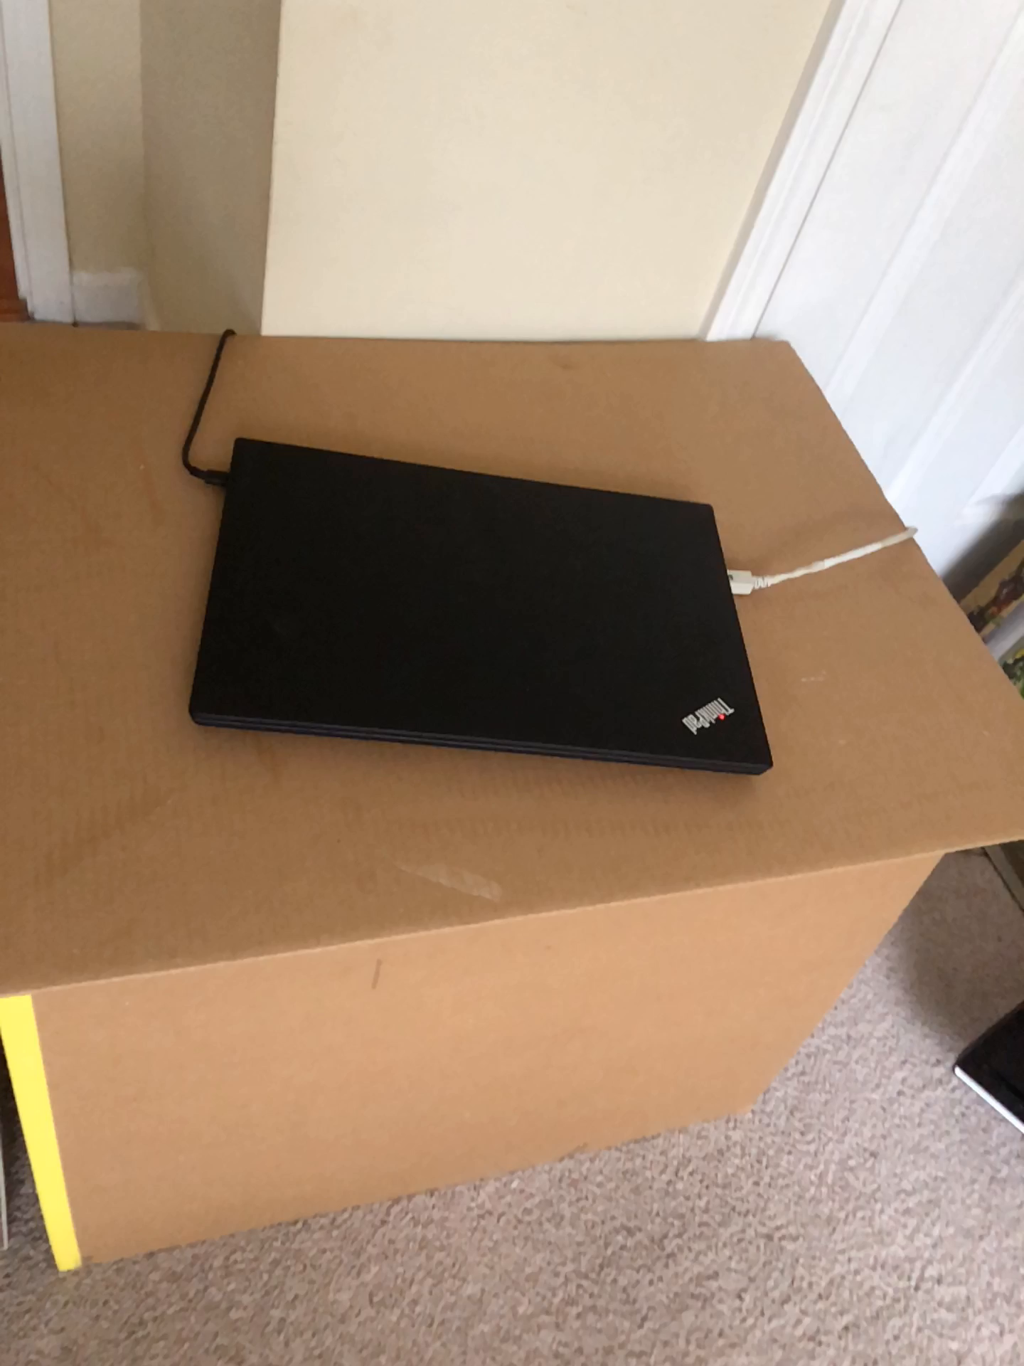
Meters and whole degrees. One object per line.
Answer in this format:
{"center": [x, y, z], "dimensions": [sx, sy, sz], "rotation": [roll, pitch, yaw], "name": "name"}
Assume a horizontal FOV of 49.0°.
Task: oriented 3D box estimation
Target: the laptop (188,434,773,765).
{"center": [-0.013, -0.056, 0.688], "dimensions": [0.327, 0.002, 0.226], "rotation": [7, 49, -12], "name": "laptop"}
